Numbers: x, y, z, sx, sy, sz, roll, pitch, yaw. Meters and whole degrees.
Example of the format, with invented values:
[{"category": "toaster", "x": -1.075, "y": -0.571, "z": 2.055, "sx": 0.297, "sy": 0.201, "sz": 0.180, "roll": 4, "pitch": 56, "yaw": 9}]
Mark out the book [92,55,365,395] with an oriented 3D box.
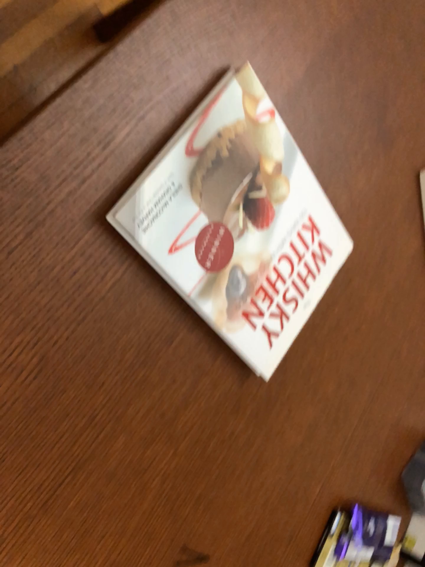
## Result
[{"category": "book", "x": 0.045, "y": -0.049, "z": 0.498, "sx": 0.220, "sy": 0.040, "sz": 0.271, "roll": -54, "pitch": 126, "yaw": -19}]
